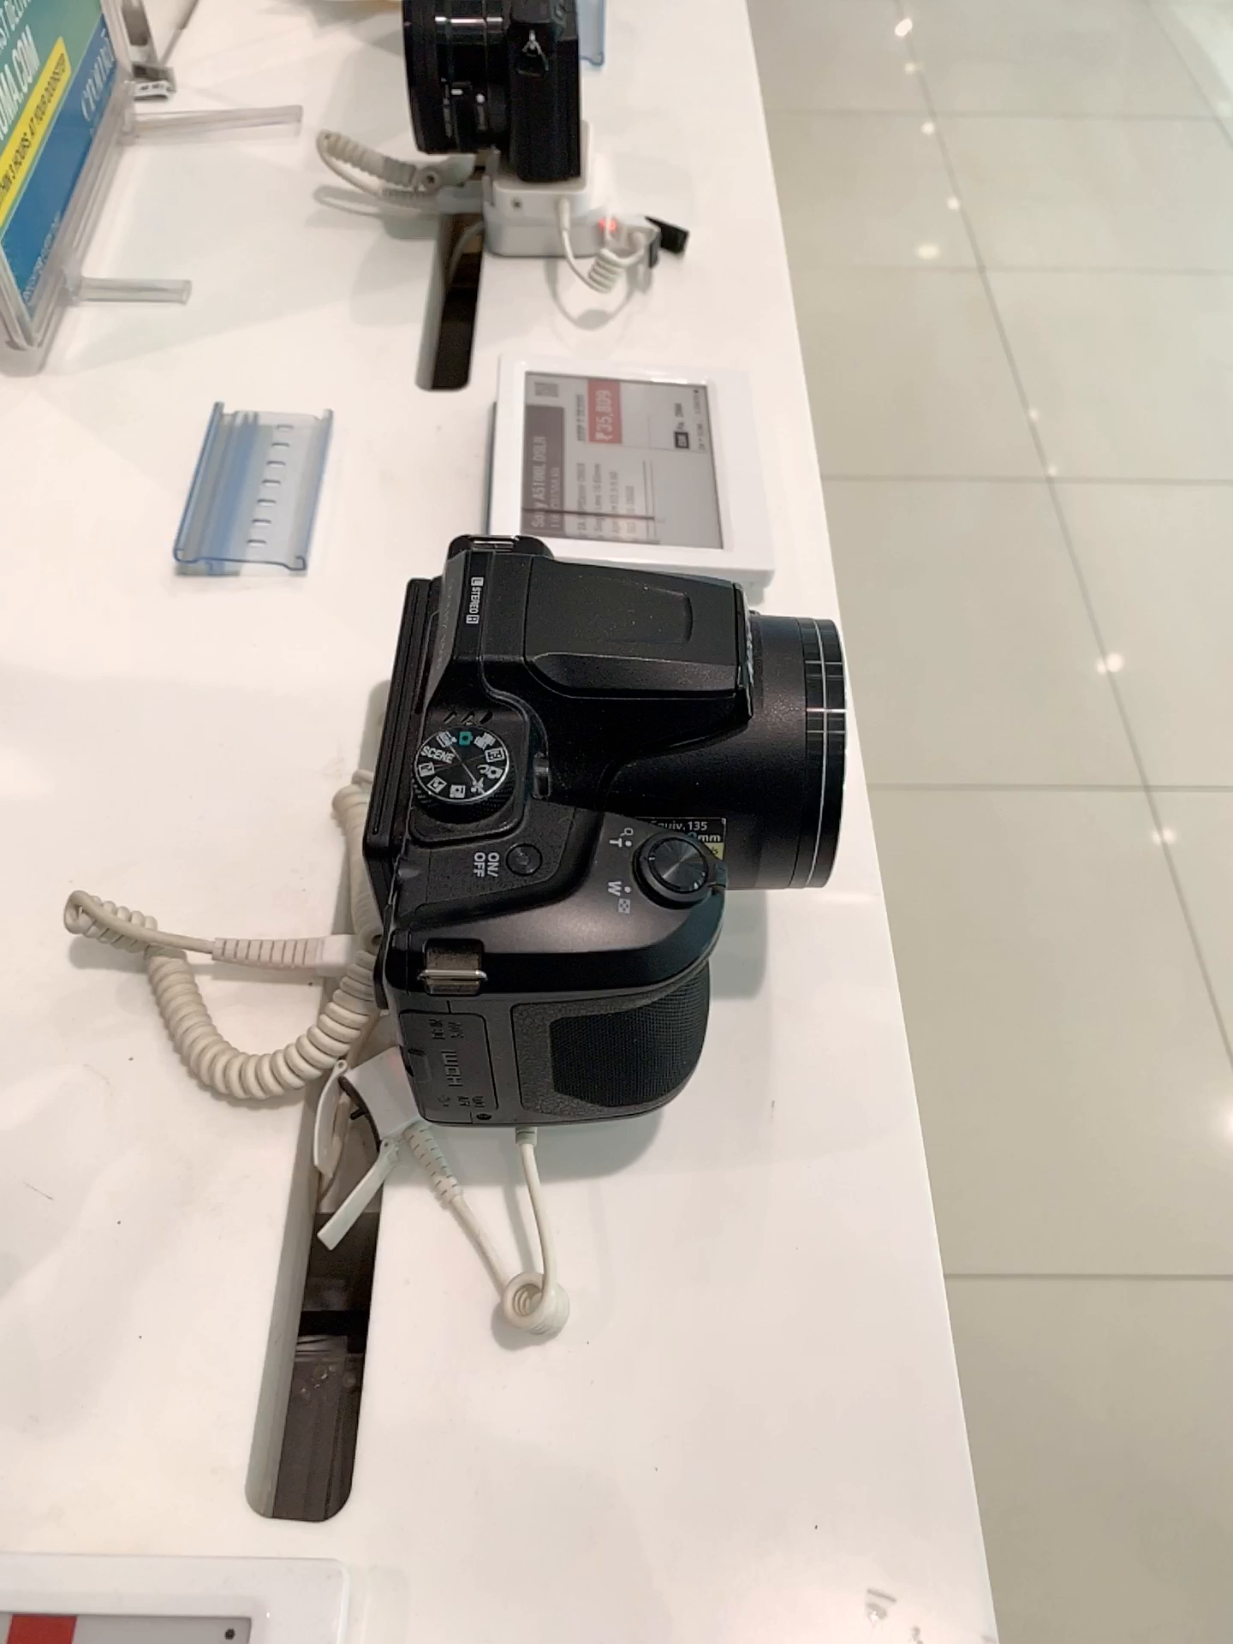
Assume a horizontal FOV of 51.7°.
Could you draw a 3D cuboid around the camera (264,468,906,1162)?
[{"bbox_3d":[-0.005,-0.003,0.267,0.100,0.080,0.120,1,53,0],"label":"camera"}]
